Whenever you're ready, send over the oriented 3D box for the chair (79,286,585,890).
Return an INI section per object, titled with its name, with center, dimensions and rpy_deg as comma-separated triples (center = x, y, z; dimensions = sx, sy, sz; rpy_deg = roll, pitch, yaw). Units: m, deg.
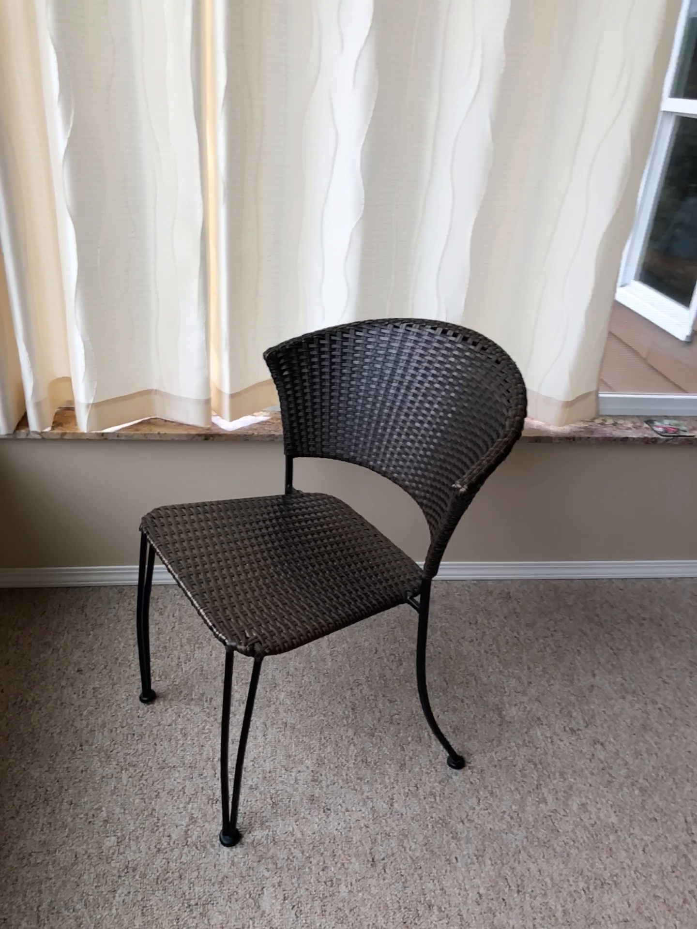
[chair]
center = -0.080, 0.157, 1.396
dimensions = 0.611, 0.787, 0.562
rpy_deg = -11, 32, -29
